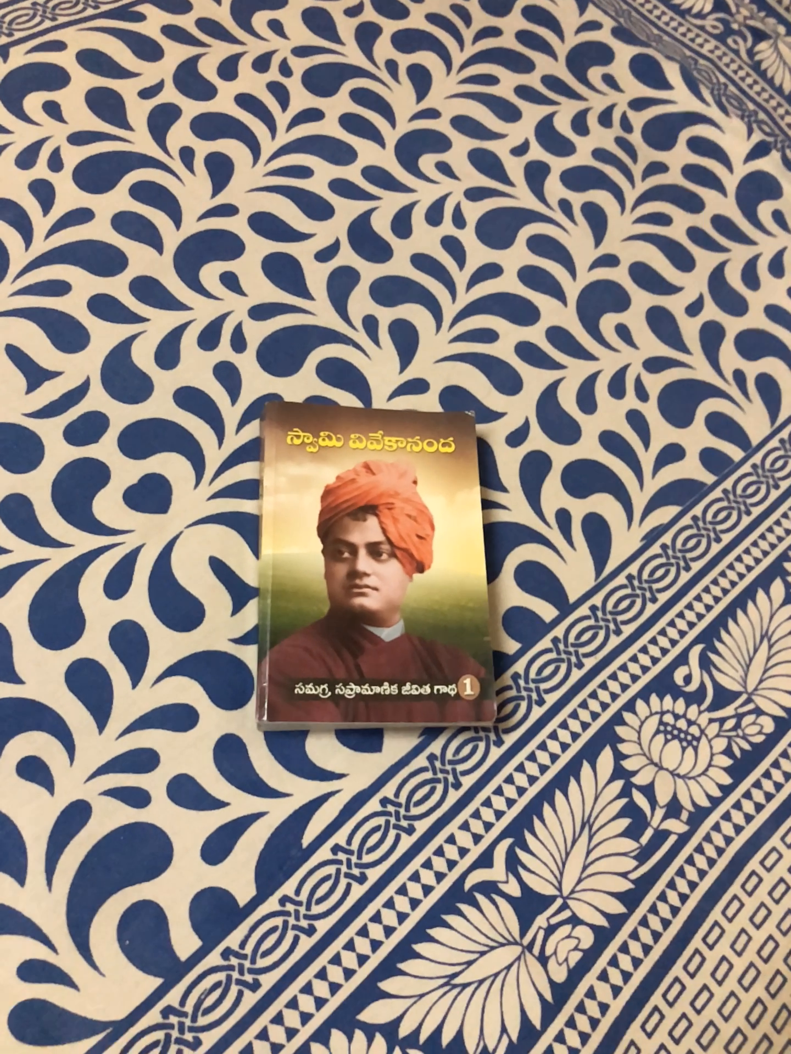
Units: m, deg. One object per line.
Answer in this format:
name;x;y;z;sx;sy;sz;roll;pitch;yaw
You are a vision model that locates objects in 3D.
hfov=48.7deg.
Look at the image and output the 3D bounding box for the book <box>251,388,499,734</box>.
book;-0.015;0.019;0.542;0.140;0.030;0.210;3;69;-12
